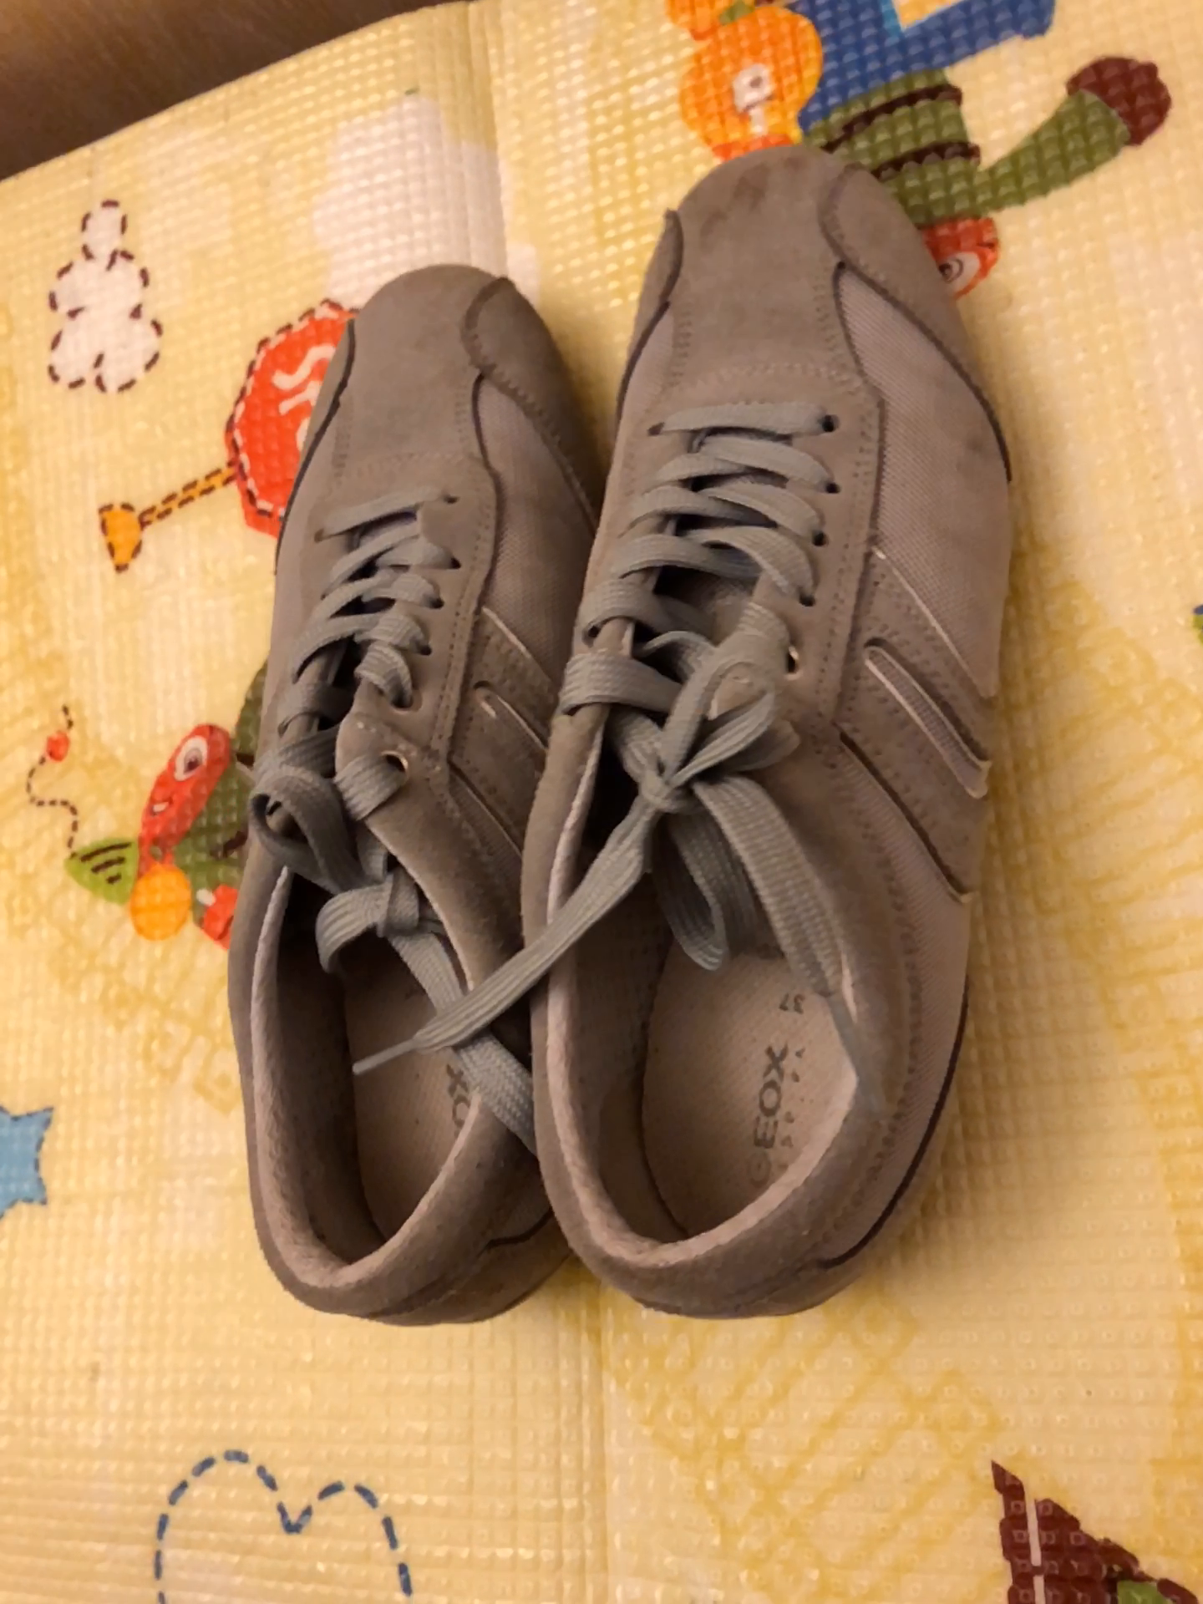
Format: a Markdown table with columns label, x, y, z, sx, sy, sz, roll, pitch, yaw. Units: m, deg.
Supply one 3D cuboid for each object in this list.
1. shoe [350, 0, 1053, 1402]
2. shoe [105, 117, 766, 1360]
| label | x | y | z | sx | sy | sz | roll | pitch | yaw |
| --- | --- | --- | --- | --- | --- | --- | --- | --- | --- |
| shoe | 0.034 | -0.026 | 0.261 | 0.090 | 0.120 | 0.230 | 0 | 80 | 24 |
| shoe | -0.036 | -0.006 | 0.309 | 0.090 | 0.120 | 0.230 | -11 | 76 | 22 |
